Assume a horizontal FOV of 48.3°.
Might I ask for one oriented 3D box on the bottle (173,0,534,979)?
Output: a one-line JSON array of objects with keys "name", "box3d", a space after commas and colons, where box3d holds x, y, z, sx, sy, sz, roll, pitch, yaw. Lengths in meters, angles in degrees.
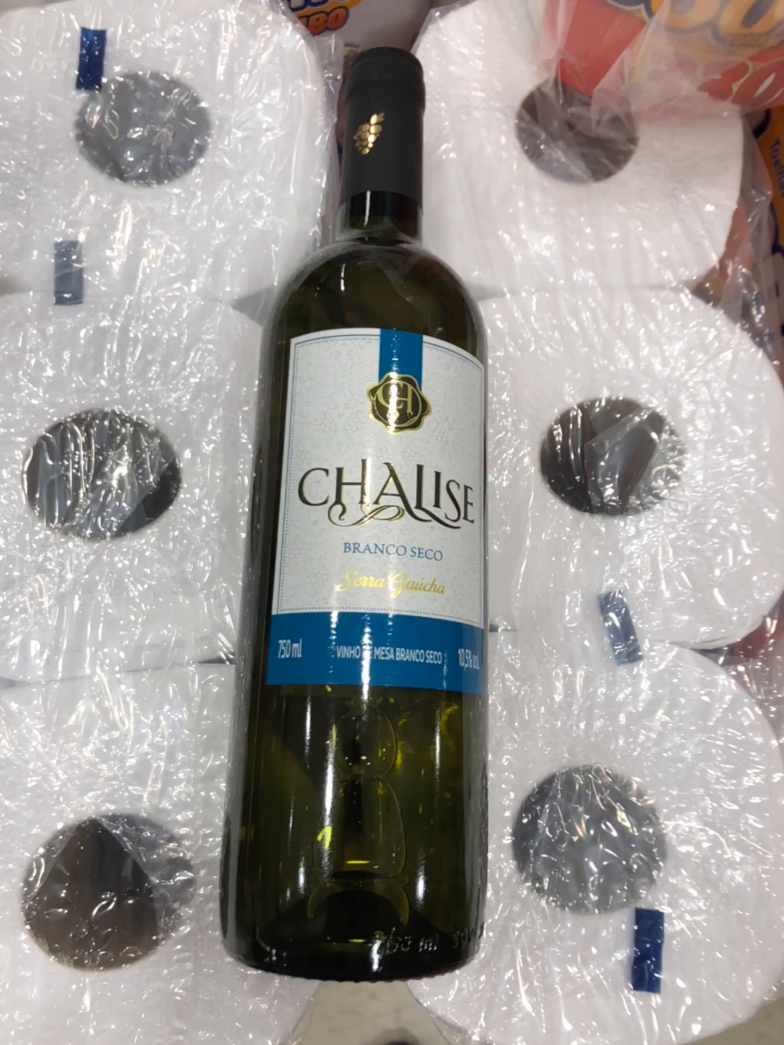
[{"name": "bottle", "box3d": [-0.008, -0.027, 0.260, 0.080, 0.060, 0.280, 7, 74, -15]}]
